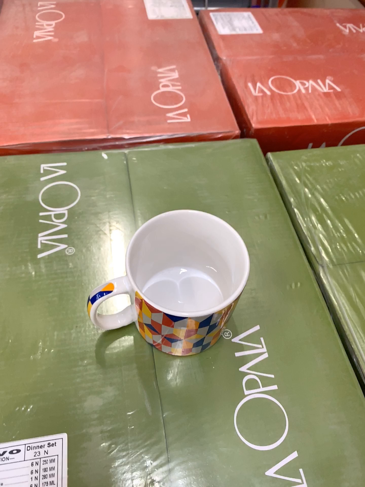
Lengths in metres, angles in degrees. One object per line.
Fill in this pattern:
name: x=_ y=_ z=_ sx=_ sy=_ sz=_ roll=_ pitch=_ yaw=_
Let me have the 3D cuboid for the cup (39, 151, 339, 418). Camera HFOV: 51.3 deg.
cup: x=-0.001 y=0.025 z=0.238 sx=0.130 sy=0.100 sz=0.090 roll=-19 pitch=58 yaw=-17
